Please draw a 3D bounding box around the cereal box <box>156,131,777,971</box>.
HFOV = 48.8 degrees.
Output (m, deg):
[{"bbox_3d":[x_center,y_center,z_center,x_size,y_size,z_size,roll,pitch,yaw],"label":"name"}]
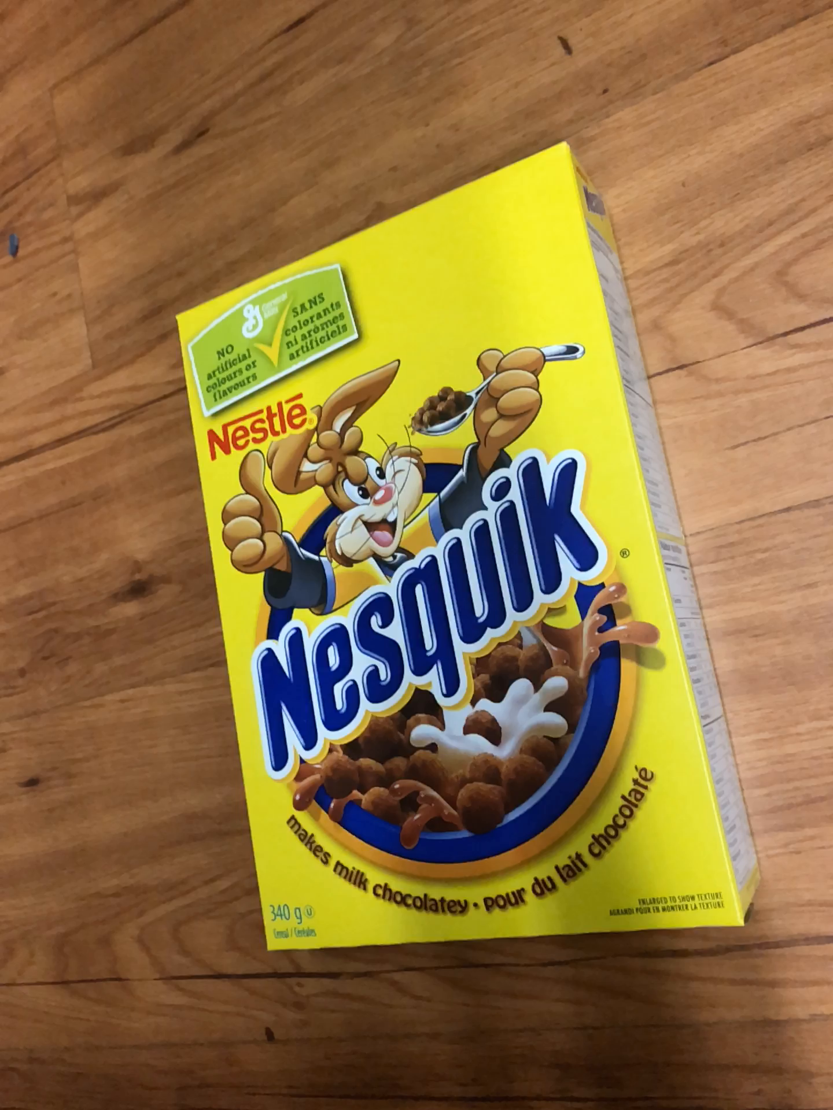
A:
[{"bbox_3d":[0.007,0.010,0.386,0.201,0.060,0.290,-16,80,27],"label":"cereal box"}]
